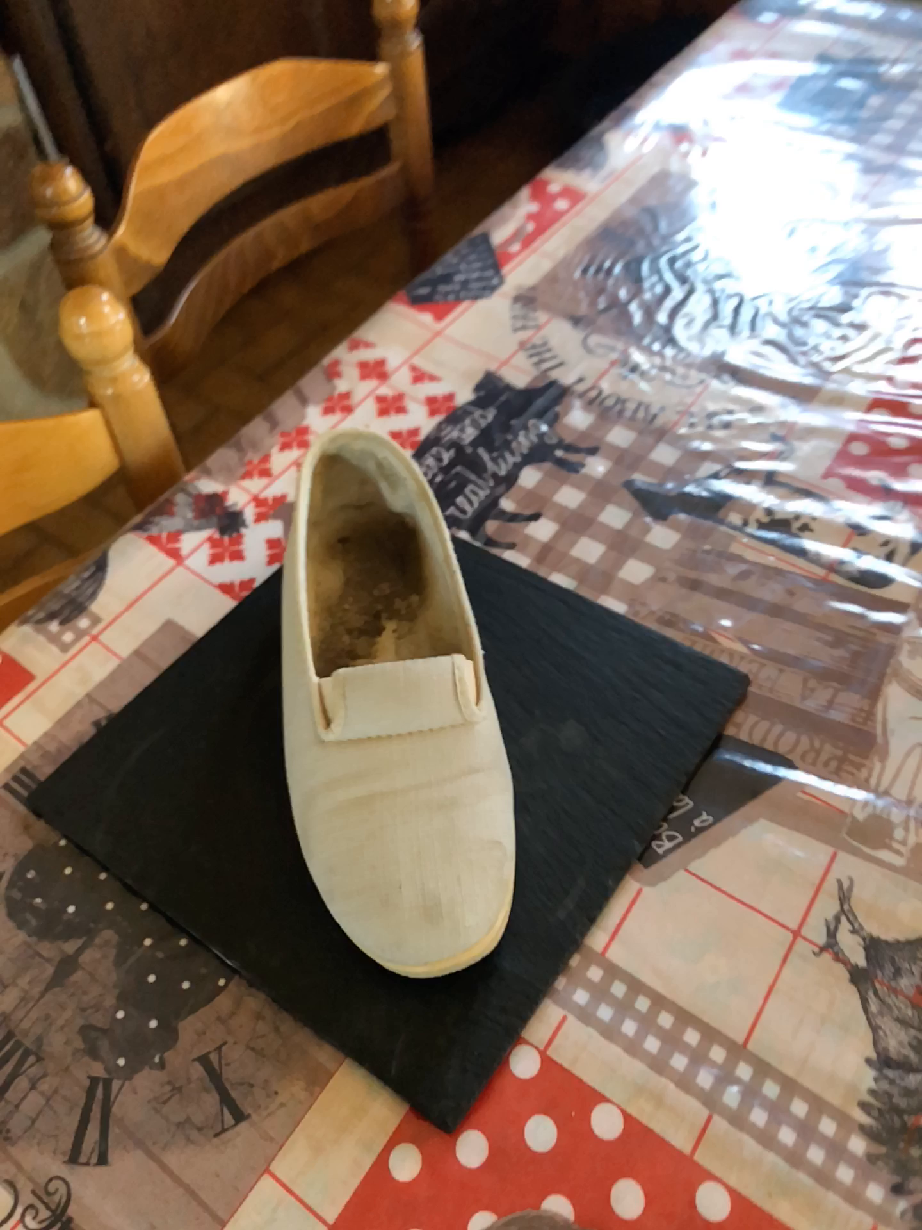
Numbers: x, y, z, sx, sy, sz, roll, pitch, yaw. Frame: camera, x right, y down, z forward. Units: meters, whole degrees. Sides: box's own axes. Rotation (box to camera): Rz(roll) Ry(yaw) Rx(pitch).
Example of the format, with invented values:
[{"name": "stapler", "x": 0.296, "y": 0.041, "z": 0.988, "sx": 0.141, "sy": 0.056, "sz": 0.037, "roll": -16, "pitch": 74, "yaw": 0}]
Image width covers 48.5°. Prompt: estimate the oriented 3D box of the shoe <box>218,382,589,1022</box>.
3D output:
[{"name": "shoe", "x": -0.034, "y": 0.018, "z": 0.424, "sx": 0.100, "sy": 0.080, "sz": 0.251, "roll": -12, "pitch": 49, "yaw": -5}]
